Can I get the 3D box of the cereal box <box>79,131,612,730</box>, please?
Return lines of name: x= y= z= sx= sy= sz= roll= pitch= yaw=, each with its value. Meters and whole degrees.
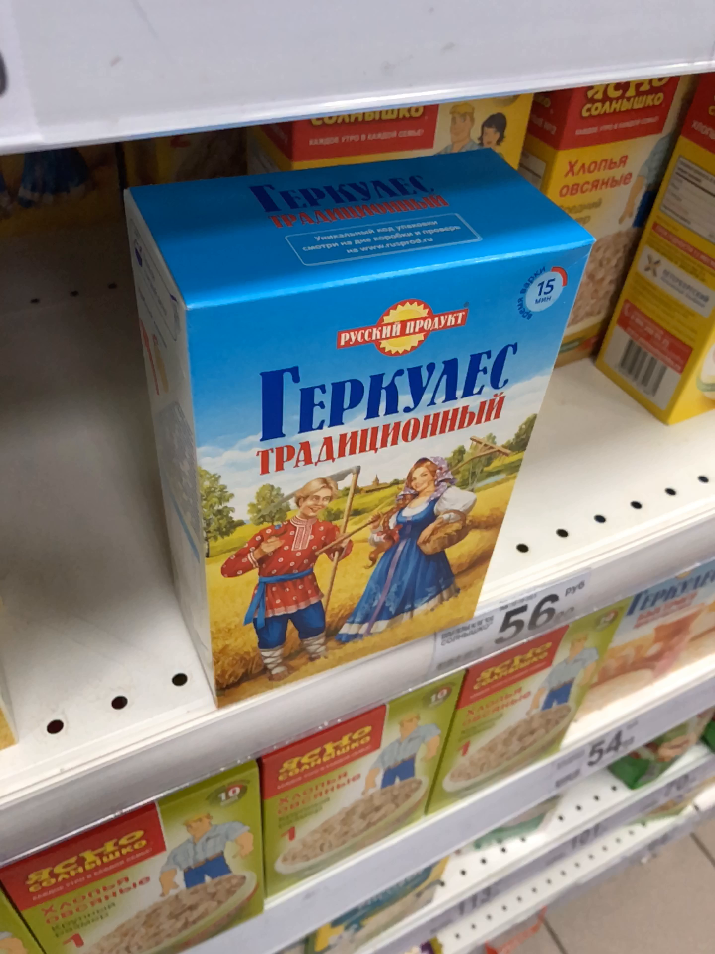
cereal box: x=-0.010 y=-0.009 z=0.286 sx=0.130 sy=0.189 sz=0.070 roll=-15 pitch=49 yaw=-21
